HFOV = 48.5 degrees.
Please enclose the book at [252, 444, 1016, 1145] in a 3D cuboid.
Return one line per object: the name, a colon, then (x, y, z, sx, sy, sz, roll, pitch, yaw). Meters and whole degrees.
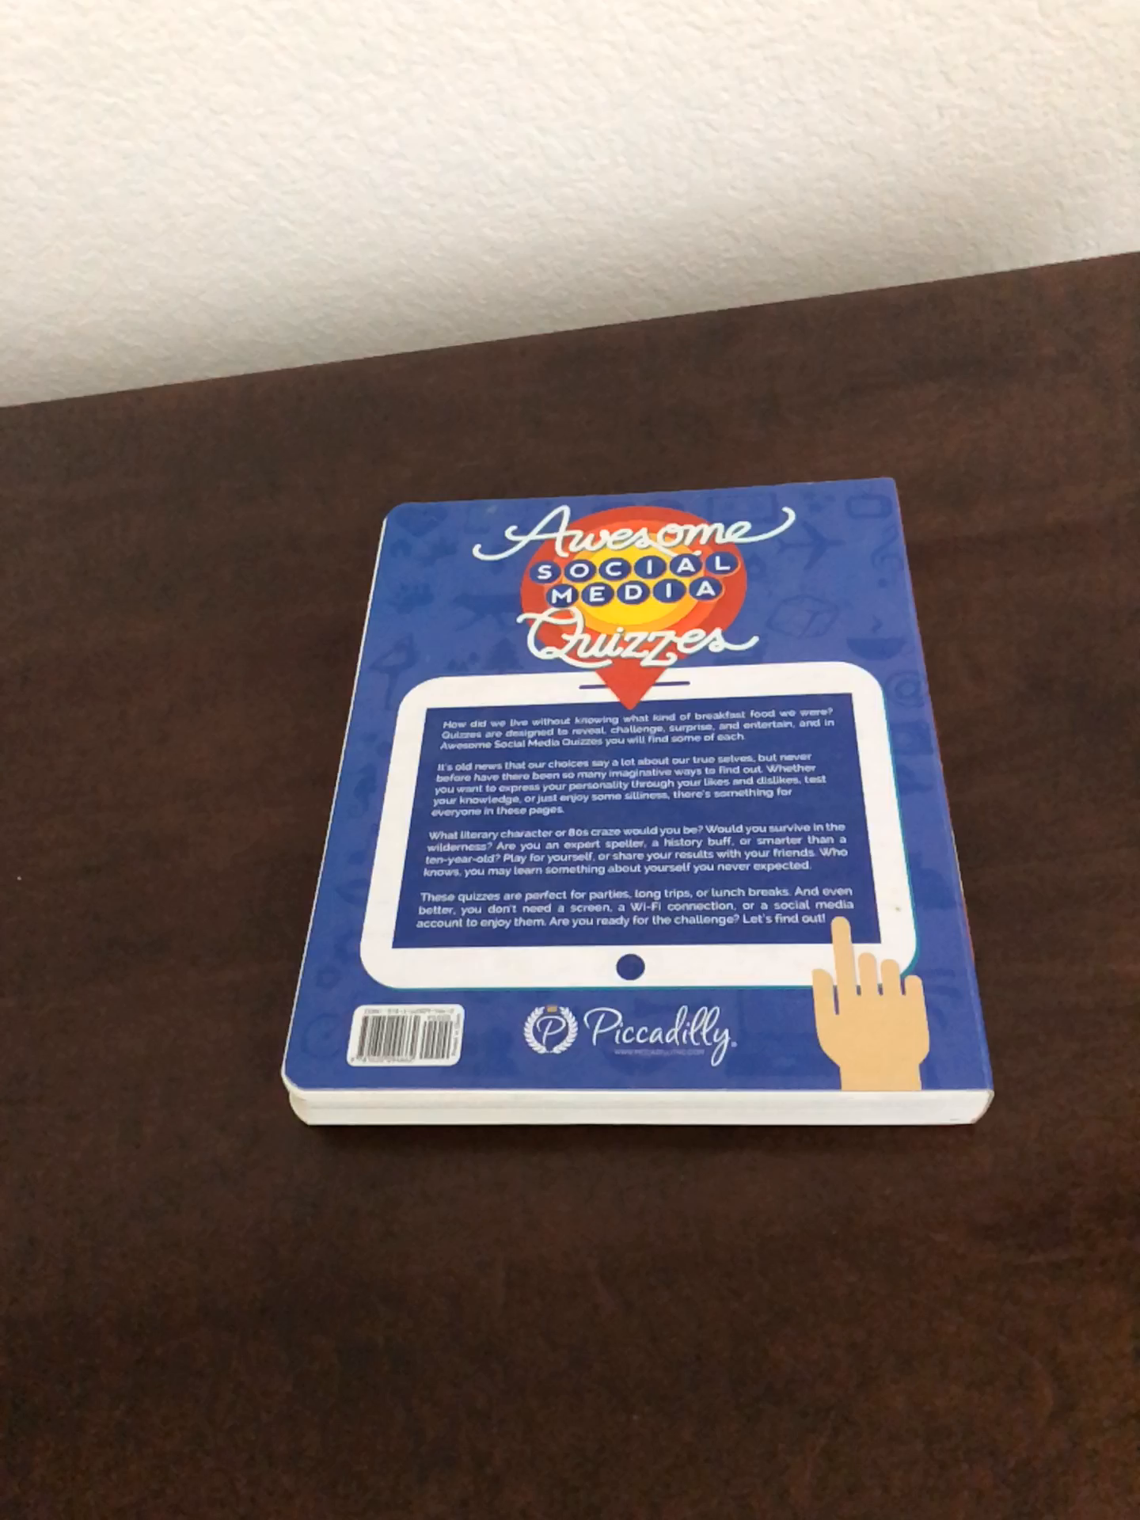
book: (0.017, -0.002, 0.361, 0.173, 0.030, 0.215, -2, 54, 5)
